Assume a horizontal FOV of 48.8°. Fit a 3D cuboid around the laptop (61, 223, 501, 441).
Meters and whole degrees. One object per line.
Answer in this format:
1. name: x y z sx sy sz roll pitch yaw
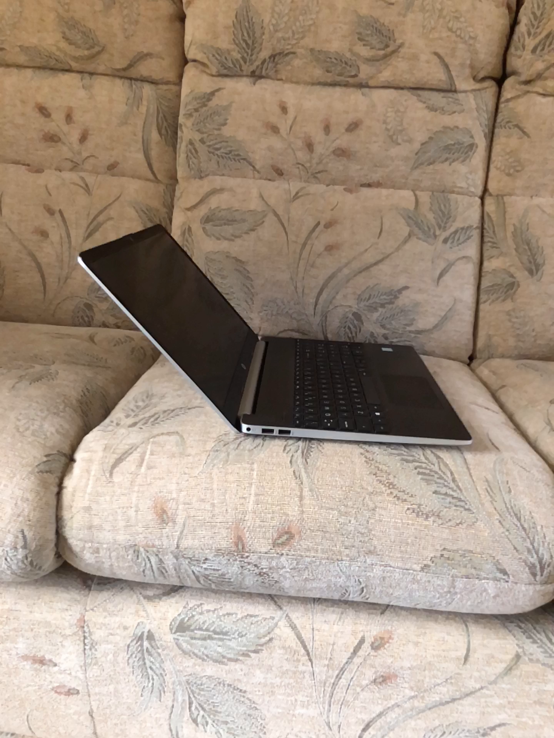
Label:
1. laptop: 0.009 -0.067 0.746 0.397 0.163 0.340 4 20 0
